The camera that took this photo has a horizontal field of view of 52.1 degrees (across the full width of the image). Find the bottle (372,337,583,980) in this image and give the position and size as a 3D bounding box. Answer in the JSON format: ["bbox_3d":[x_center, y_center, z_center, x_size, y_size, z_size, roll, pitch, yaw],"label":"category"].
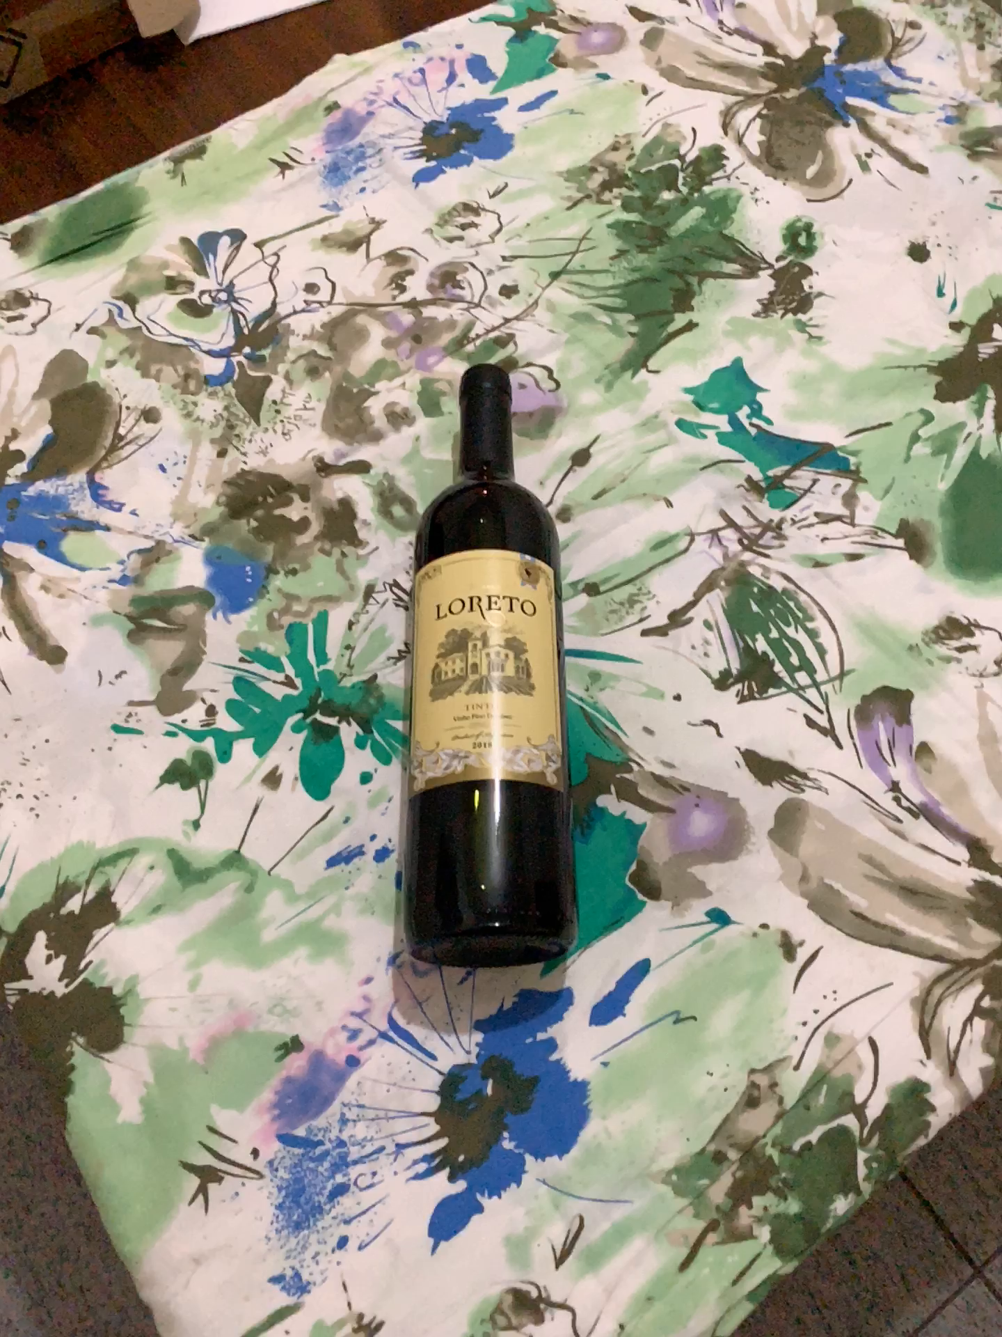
[{"bbox_3d":[-0.011,-0.019,0.480,0.080,0.050,0.311,-1,64,0],"label":"bottle"}]
